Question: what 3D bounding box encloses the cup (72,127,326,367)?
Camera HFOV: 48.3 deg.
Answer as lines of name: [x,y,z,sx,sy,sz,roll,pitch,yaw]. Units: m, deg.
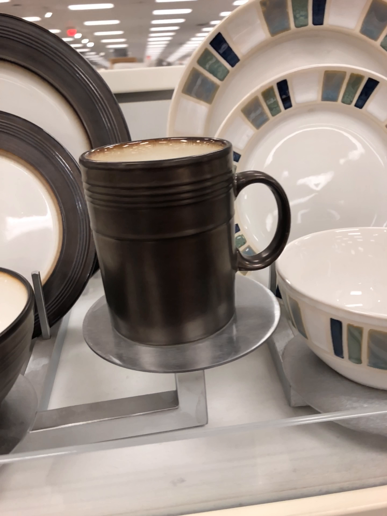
cup: [-0.001,-0.016,0.255,0.119,0.102,0.084,-10,23,-14]
